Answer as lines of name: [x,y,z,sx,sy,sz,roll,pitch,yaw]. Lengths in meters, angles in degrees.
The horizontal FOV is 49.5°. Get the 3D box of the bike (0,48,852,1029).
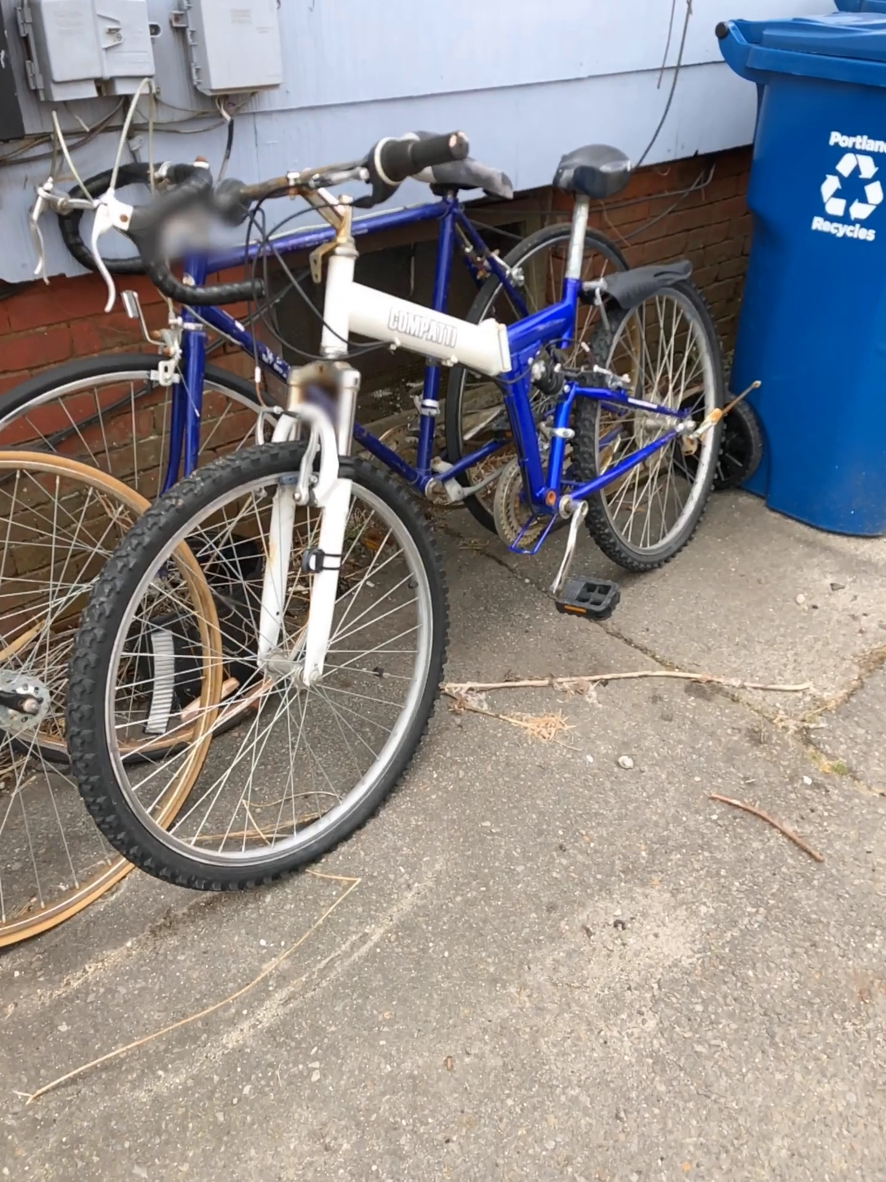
bike: [0.031,-0.301,1.777,0.563,0.978,1.736,25,44,32]
